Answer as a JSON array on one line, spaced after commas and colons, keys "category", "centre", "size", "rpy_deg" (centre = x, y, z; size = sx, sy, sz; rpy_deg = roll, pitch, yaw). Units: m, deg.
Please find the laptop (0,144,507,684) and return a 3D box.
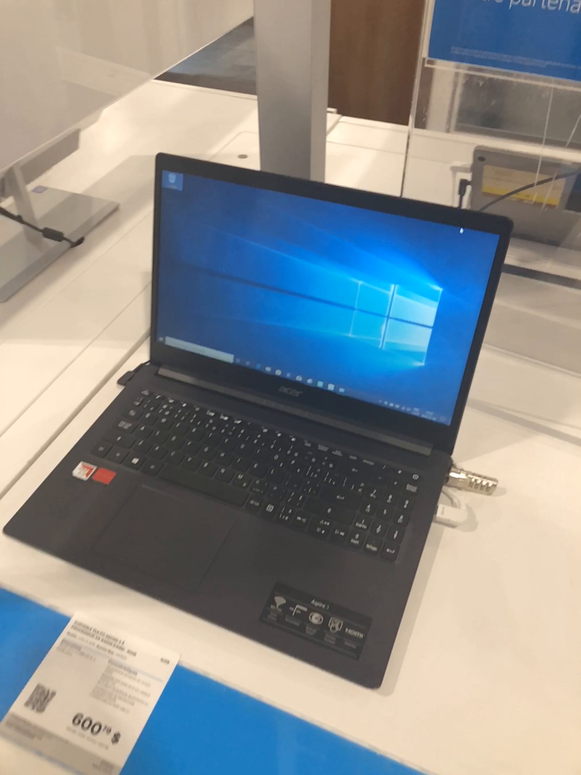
[{"category": "laptop", "centre": [-0.038, -0.013, 0.597], "size": [0.367, 0.212, 0.351], "rpy_deg": [16, 49, 17]}]
